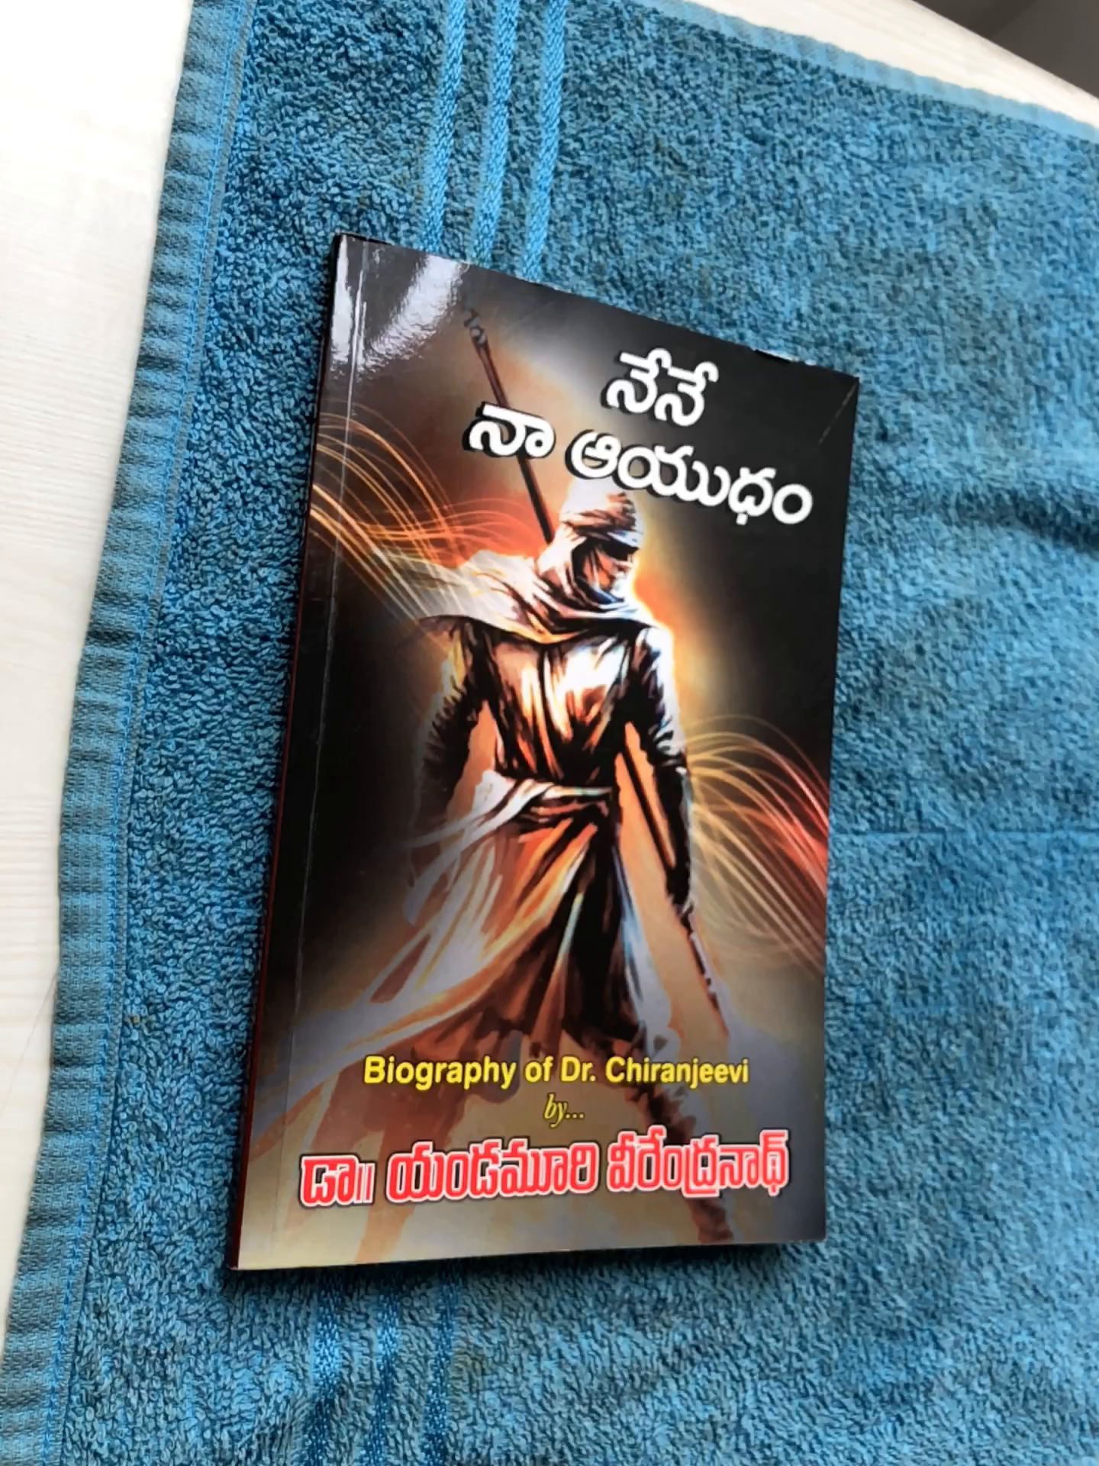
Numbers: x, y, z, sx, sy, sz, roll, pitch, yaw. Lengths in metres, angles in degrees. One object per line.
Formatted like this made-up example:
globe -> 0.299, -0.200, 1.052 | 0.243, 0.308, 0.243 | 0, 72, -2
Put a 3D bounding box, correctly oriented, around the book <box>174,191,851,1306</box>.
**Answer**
book -> 0.001, 0.006, 0.284 | 0.140, 0.030, 0.220 | 8, 80, -26
